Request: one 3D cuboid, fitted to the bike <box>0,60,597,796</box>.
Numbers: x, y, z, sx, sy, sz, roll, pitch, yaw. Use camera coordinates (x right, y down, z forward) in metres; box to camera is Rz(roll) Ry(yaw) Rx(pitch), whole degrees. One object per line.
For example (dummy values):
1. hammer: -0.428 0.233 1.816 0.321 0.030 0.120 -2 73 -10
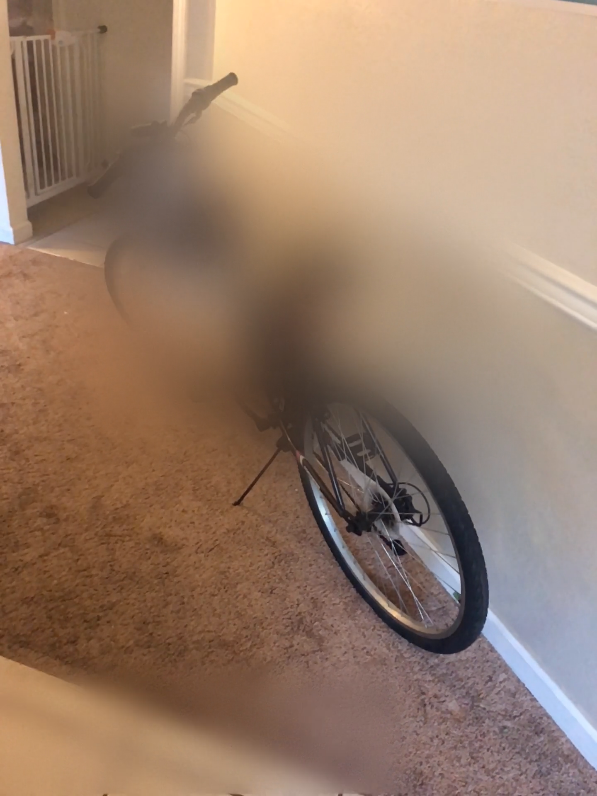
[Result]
1. bike: -0.196 -0.134 1.855 0.680 1.177 1.871 -17 41 -34
